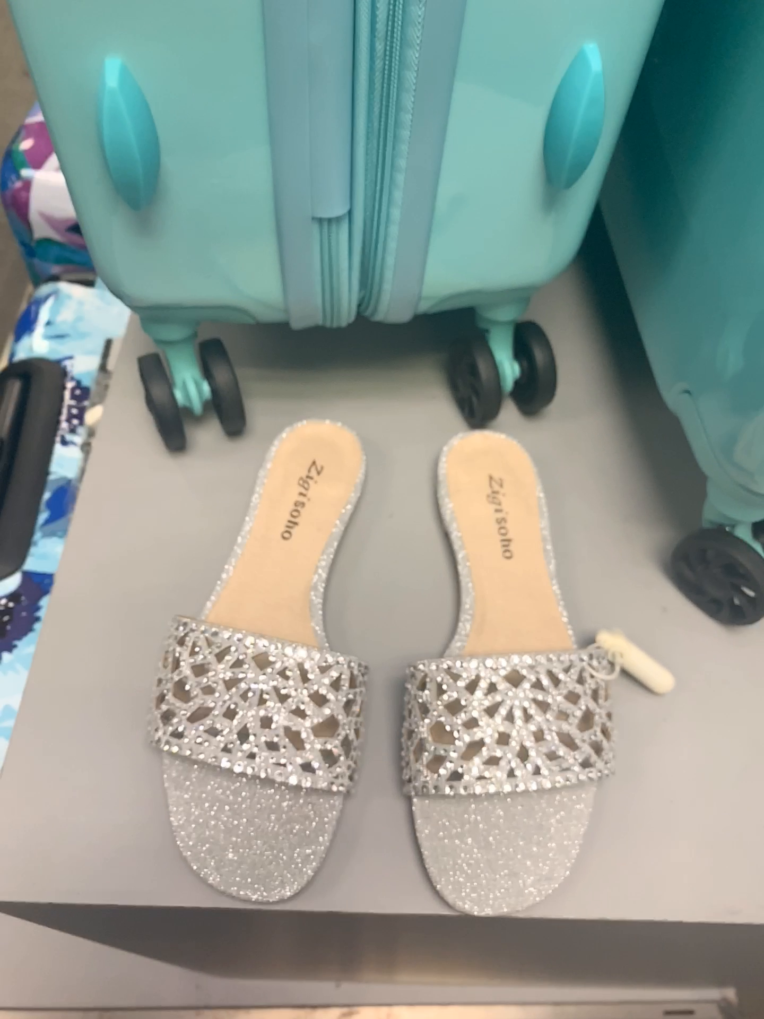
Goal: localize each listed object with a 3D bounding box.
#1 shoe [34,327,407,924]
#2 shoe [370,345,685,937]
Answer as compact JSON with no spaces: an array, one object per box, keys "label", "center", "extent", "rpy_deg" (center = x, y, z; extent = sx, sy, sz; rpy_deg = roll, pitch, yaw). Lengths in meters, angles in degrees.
[{"label":"shoe","center":[-0.051,0.035,0.342],"extent":[0.100,0.061,0.243],"rpy_deg":[6,57,1]},{"label":"shoe","center":[0.053,0.042,0.342],"extent":[0.098,0.061,0.242],"rpy_deg":[4,57,-1]}]
